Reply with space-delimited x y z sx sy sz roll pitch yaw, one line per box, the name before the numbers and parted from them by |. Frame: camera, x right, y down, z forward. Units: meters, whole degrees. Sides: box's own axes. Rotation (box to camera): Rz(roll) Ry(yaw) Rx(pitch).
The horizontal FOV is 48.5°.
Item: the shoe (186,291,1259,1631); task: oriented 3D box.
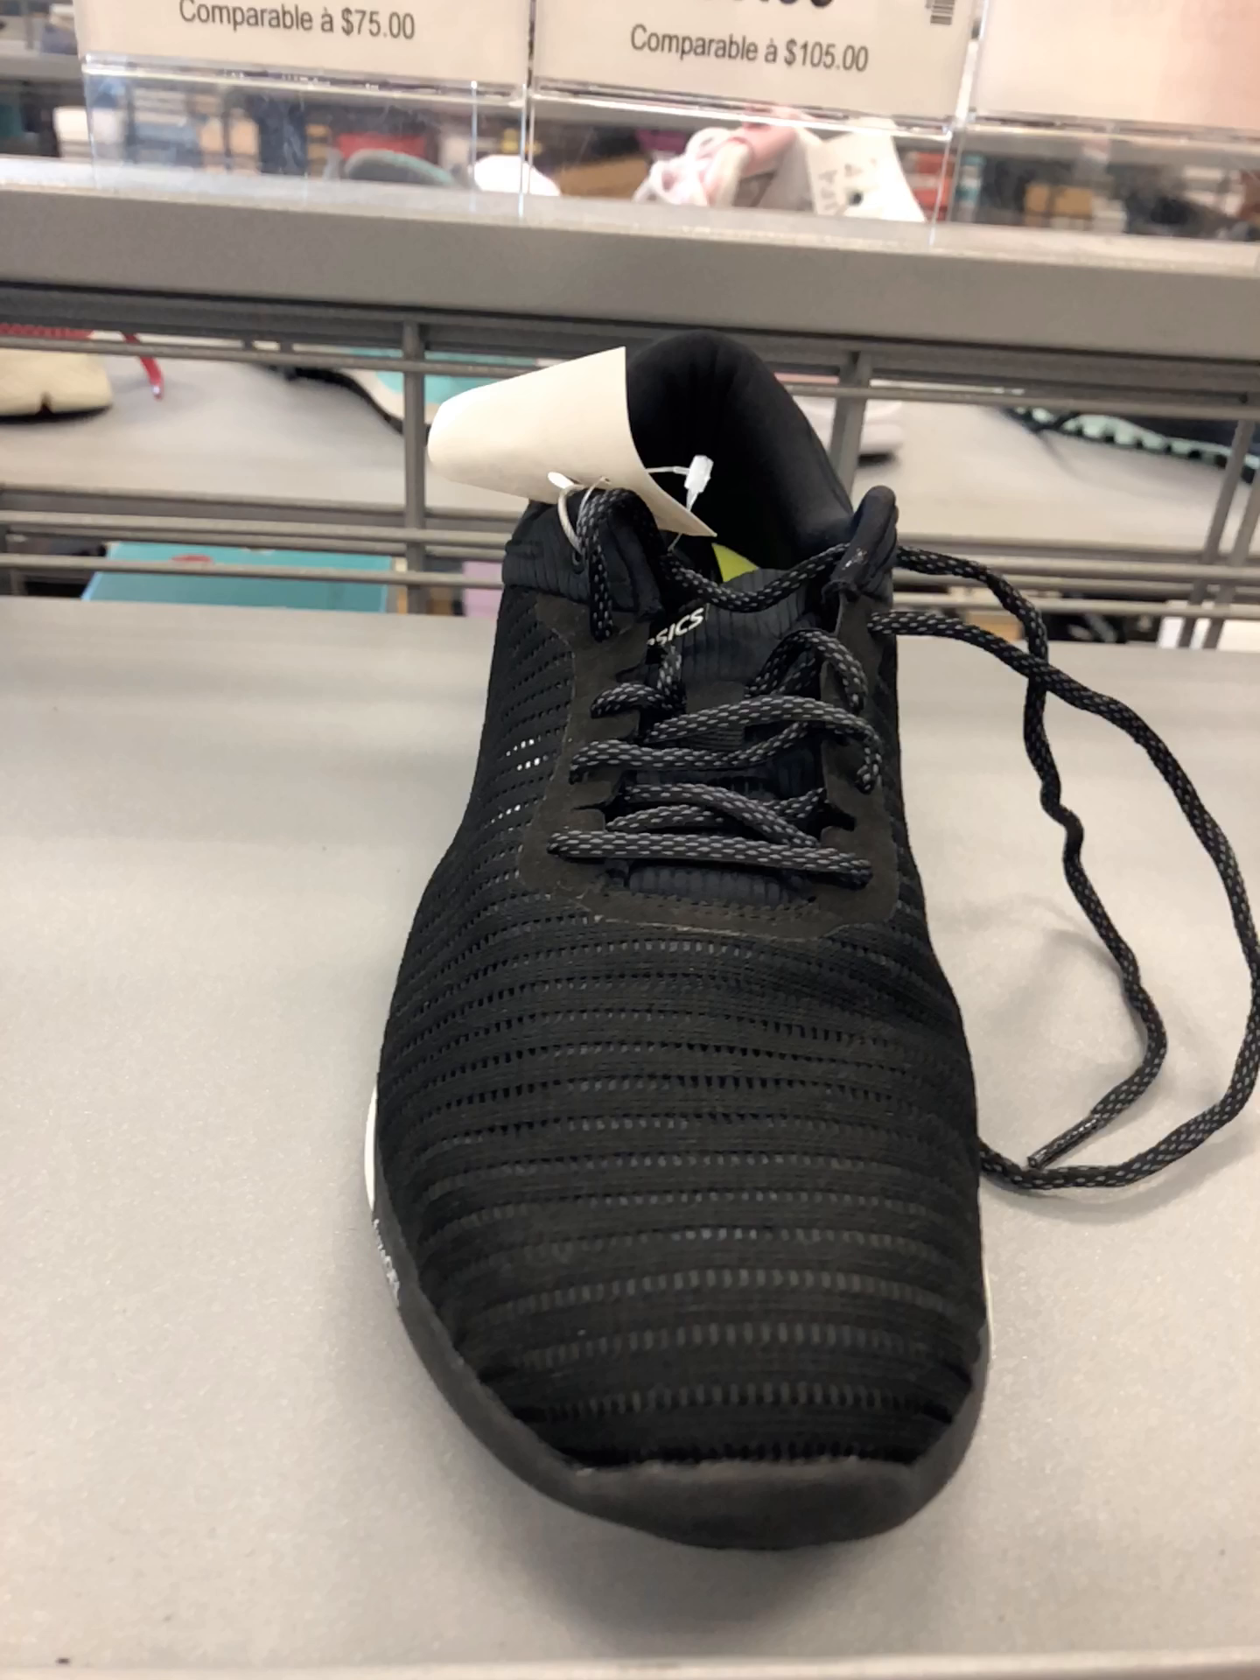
shoe | 0.004 -0.020 0.296 0.120 0.119 0.302 2 32 -5
